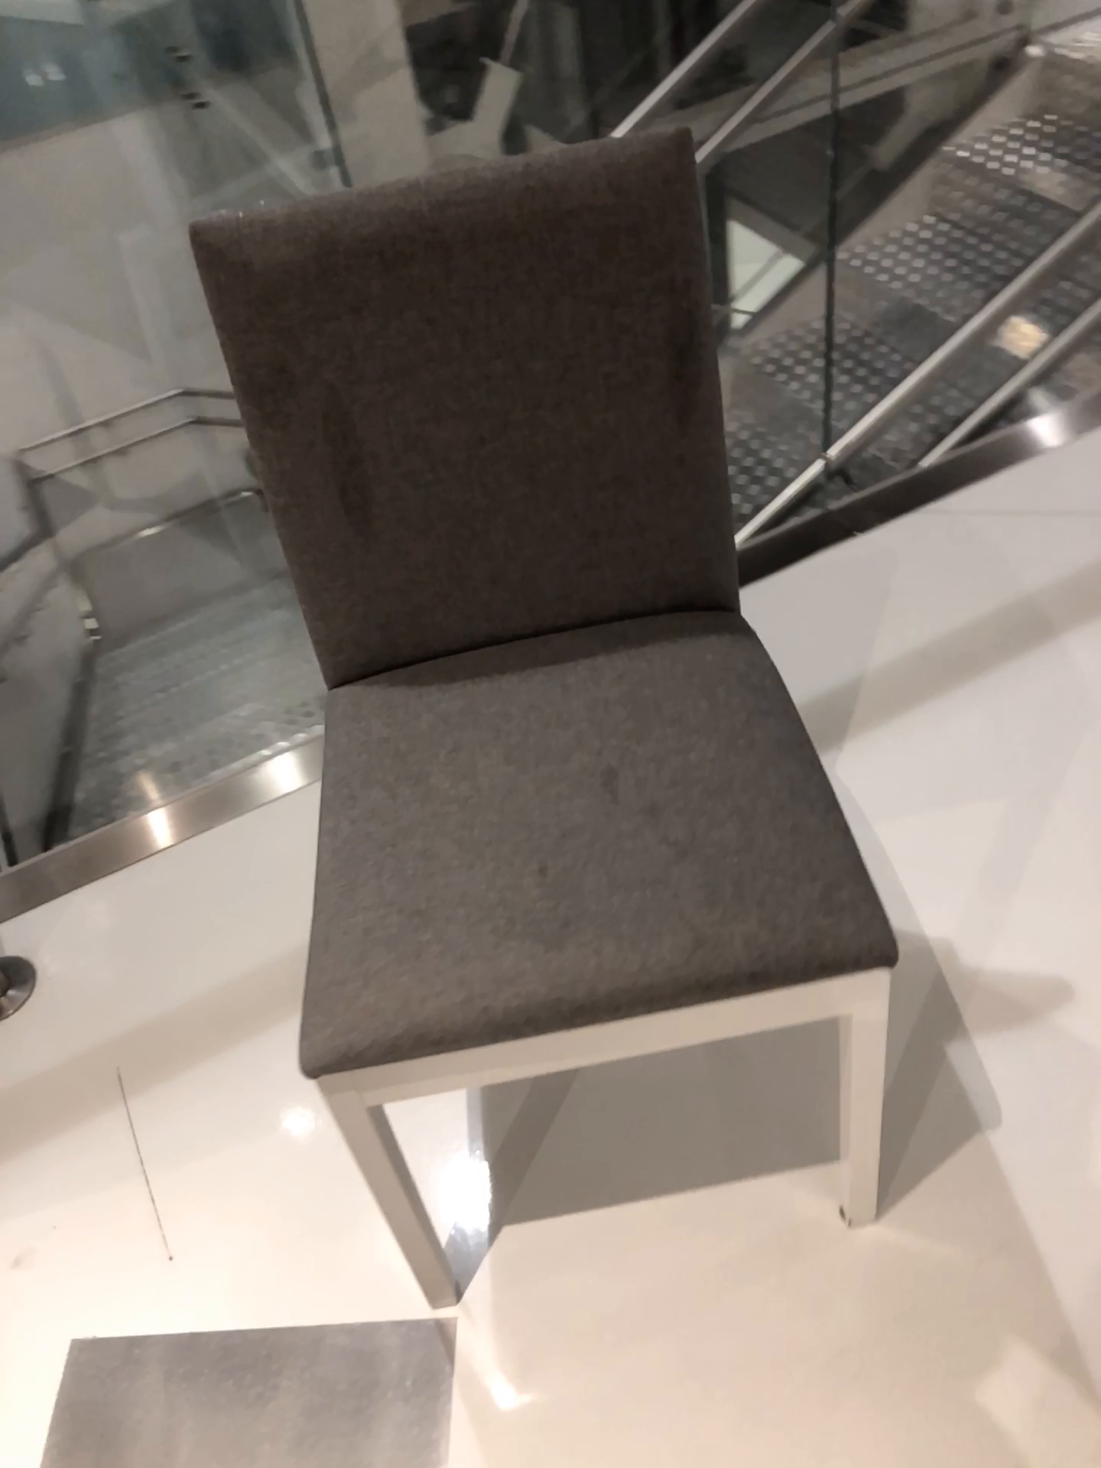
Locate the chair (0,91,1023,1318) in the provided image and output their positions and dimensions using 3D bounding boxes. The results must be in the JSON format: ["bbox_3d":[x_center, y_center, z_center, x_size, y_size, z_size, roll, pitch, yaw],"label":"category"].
[{"bbox_3d":[0.009,0.029,1.053,0.480,0.844,0.564,-11,45,1],"label":"chair"}]
